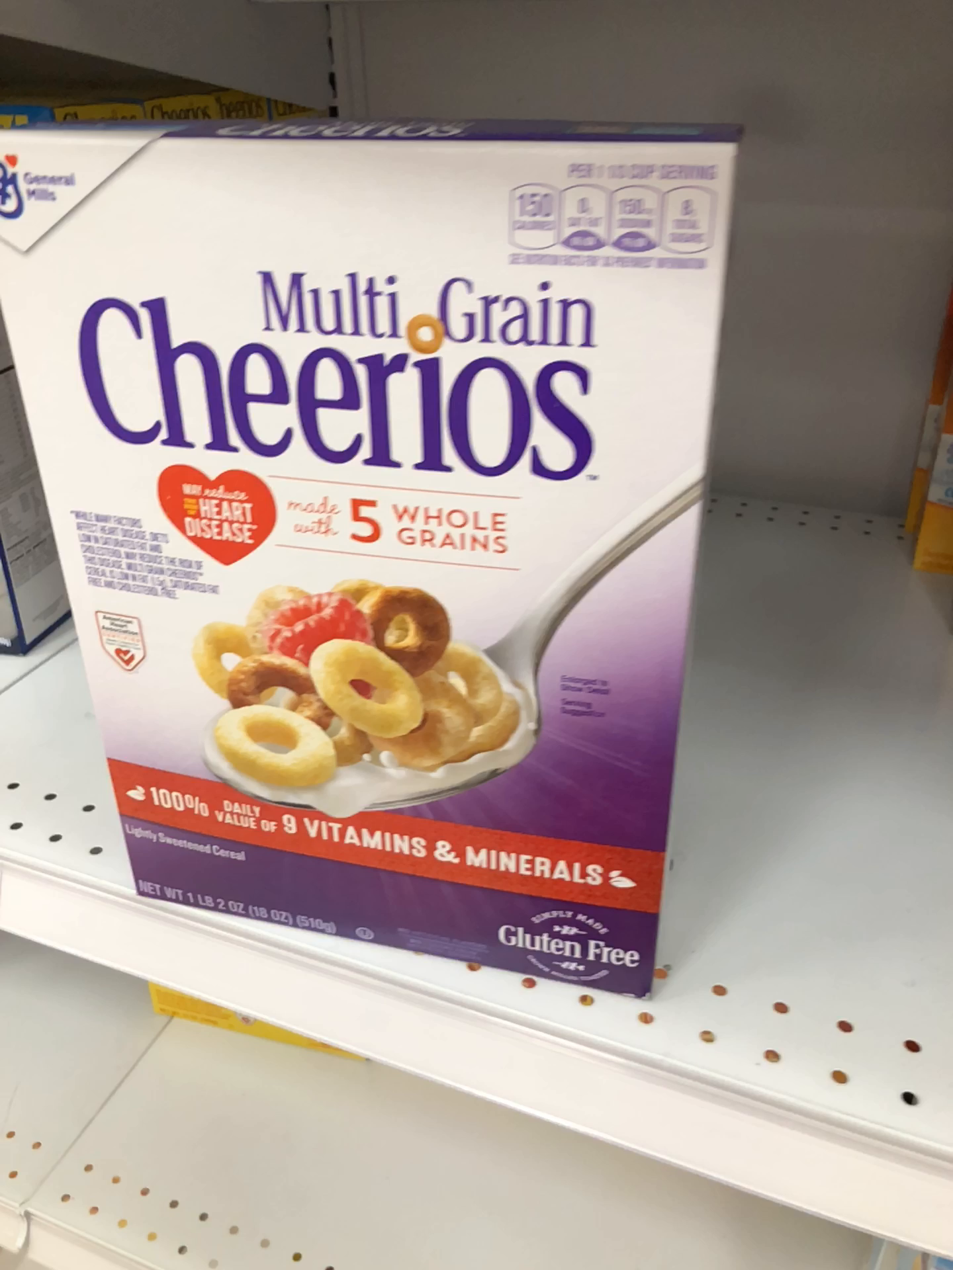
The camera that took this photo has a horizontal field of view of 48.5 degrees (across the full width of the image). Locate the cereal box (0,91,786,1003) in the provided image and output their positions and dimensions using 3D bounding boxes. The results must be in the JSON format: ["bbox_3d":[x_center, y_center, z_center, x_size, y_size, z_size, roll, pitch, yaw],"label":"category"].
[{"bbox_3d":[-0.035,-0.024,0.412,0.260,0.329,0.070,7,31,14],"label":"cereal box"}]
